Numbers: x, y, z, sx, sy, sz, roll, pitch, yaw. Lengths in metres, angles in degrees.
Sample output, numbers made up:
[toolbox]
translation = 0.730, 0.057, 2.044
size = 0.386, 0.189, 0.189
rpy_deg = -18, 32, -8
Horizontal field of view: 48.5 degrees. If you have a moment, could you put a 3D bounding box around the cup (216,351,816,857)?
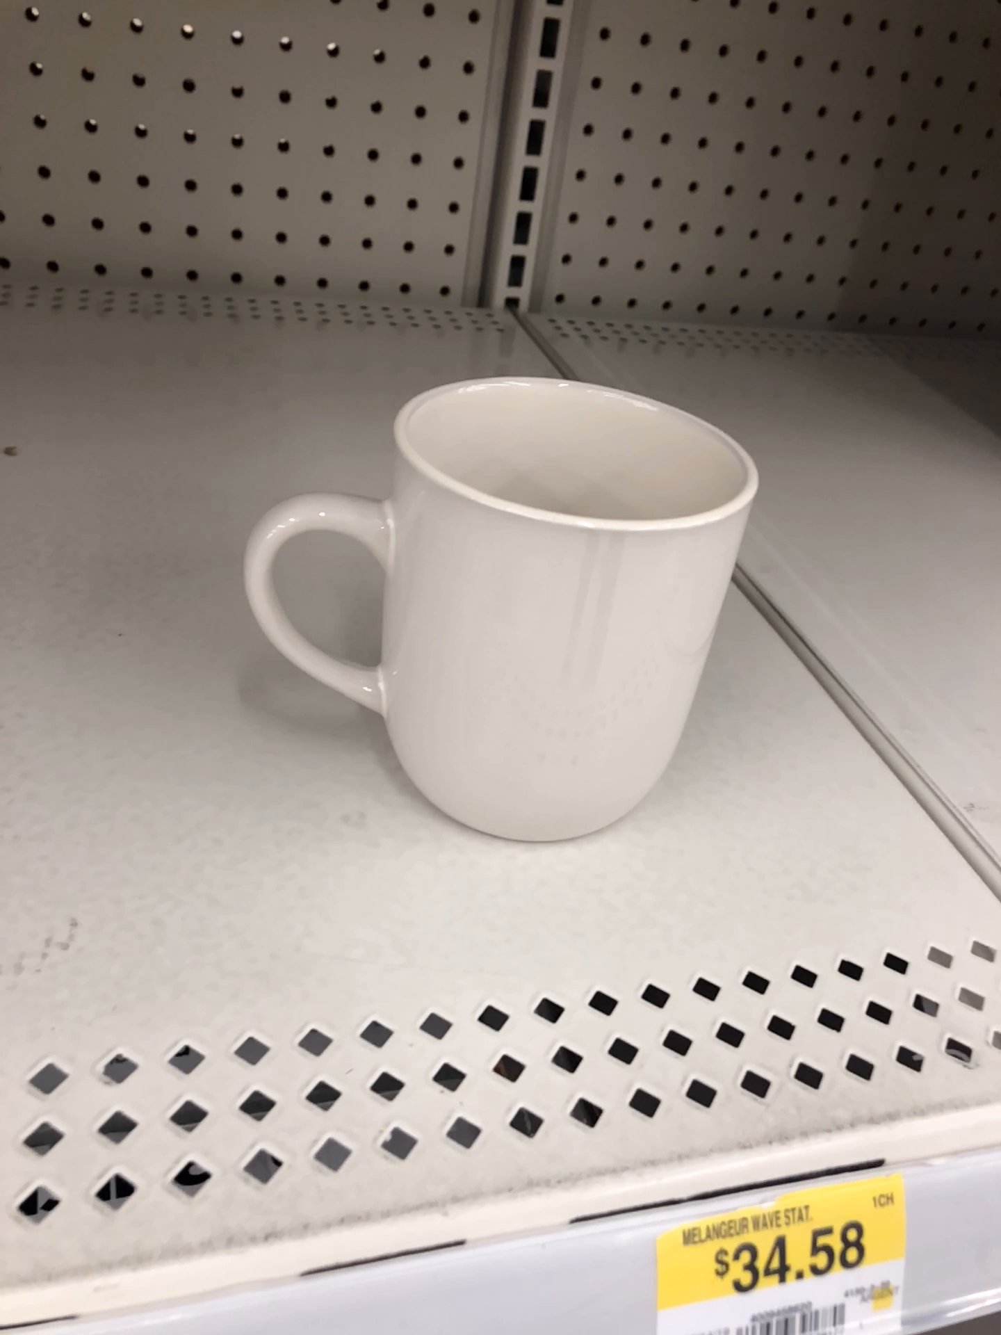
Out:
[cup]
translation = -0.006, -0.016, 0.279
size = 0.121, 0.090, 0.087
rpy_deg = 2, 32, -11
